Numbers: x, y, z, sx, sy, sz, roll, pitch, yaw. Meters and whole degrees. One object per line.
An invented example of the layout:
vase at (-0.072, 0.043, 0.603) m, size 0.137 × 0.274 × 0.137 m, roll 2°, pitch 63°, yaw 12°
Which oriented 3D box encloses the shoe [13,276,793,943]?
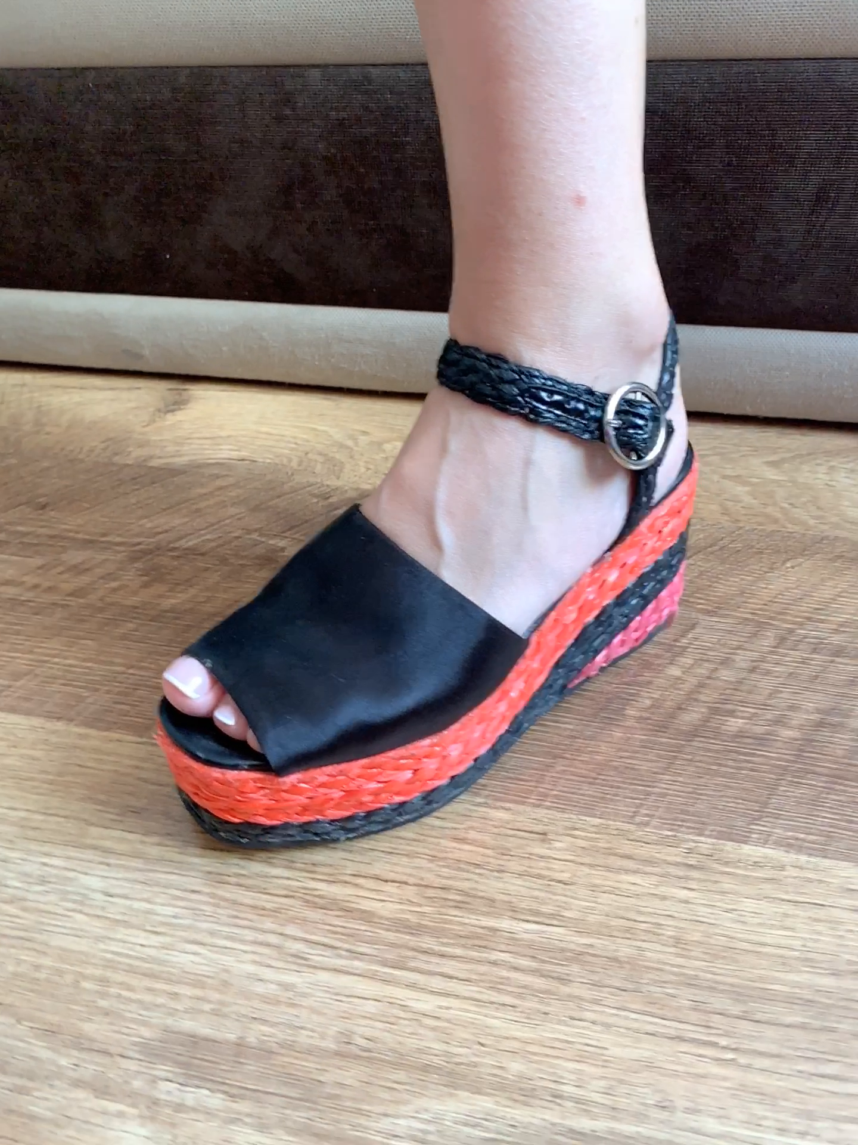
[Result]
shoe at (0.005, -0.002, 0.320) m, size 0.240 × 0.124 × 0.089 m, roll -27°, pitch 45°, yaw -26°
